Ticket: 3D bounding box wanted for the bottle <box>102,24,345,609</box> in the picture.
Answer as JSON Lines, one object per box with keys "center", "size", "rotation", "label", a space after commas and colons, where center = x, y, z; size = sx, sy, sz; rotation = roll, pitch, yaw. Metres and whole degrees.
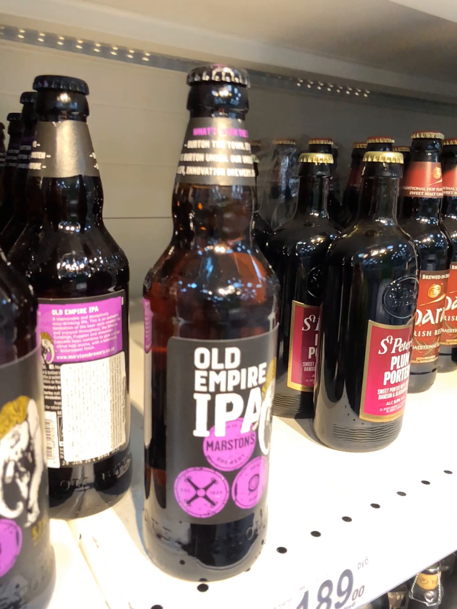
{"center": [-0.009, 0.008, 0.252], "size": [0.080, 0.239, 0.080], "rotation": [2, 13, 0], "label": "bottle"}
